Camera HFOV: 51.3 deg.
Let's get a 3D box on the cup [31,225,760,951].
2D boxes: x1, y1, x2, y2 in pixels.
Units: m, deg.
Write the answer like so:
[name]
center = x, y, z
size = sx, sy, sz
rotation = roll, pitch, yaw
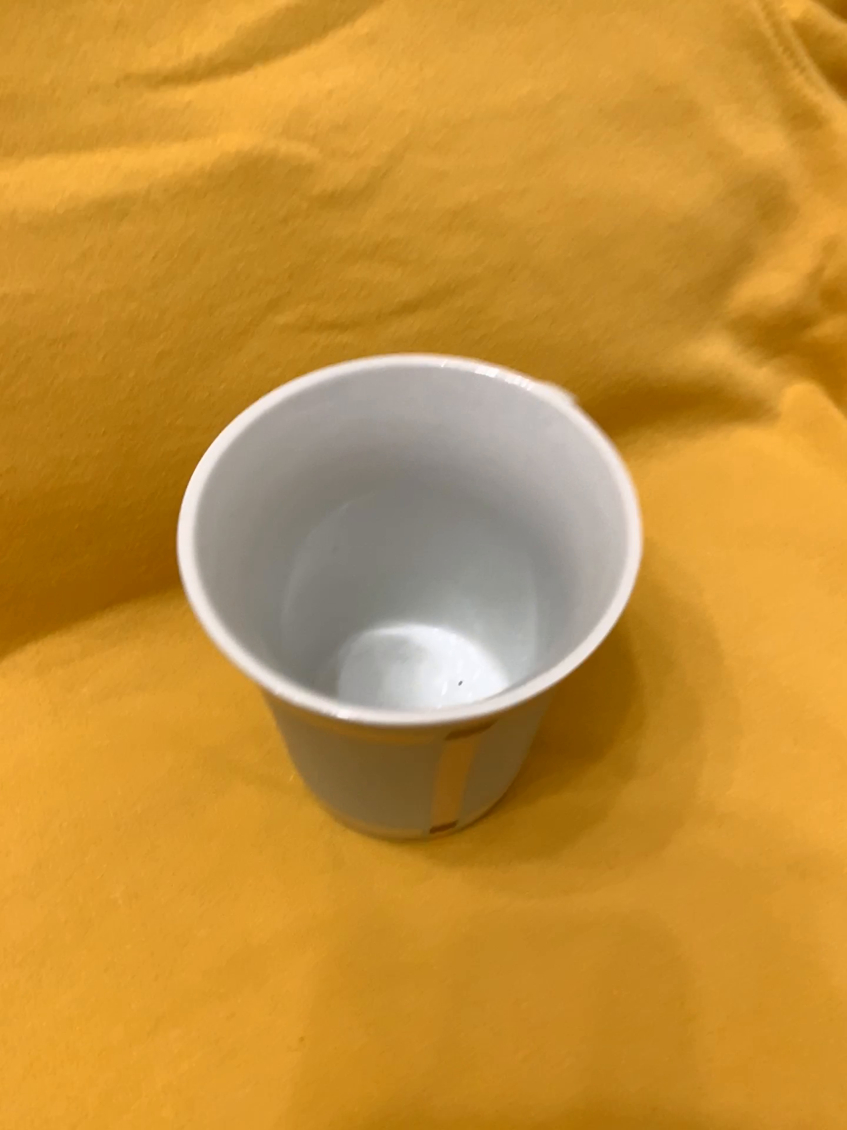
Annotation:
[cup]
center = -0.003, 0.006, 0.227
size = 0.098, 0.103, 0.121
rotation = 34, 60, 18
